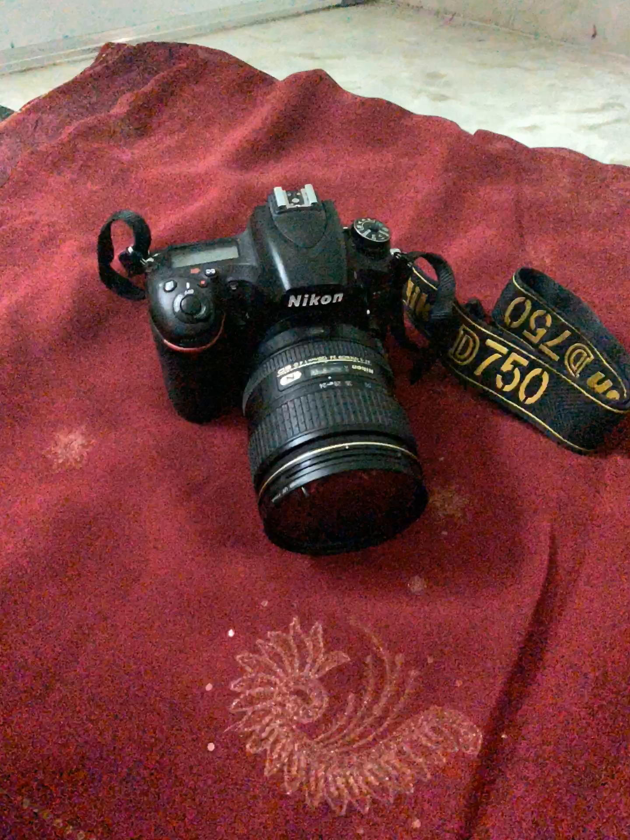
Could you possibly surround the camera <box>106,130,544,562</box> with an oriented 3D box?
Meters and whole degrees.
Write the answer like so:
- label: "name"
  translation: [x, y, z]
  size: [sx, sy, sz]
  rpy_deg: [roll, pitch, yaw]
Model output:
- label: "camera"
  translation: [-0.007, -0.040, 0.310]
  size: [0.150, 0.110, 0.160]
  rpy_deg: [-7, 52, -6]
